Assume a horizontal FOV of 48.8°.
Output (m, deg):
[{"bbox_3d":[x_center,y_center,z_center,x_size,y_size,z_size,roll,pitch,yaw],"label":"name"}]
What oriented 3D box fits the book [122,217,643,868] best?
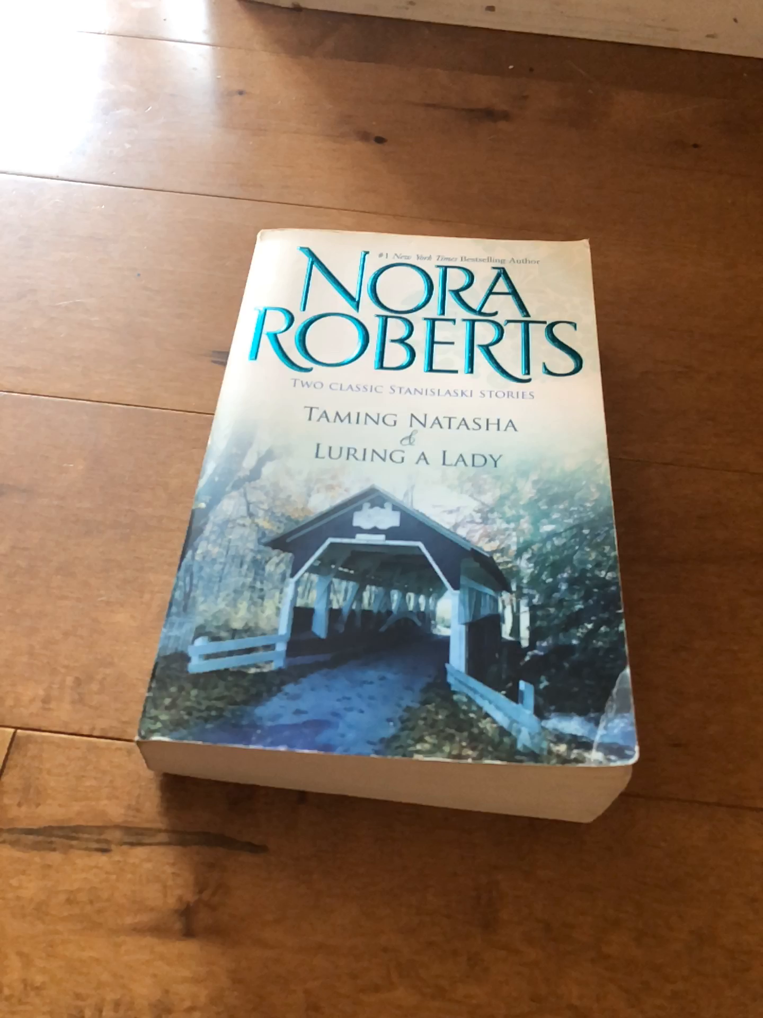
[{"bbox_3d":[0.008,-0.006,0.286,0.130,0.040,0.221,5,57,0],"label":"book"}]
